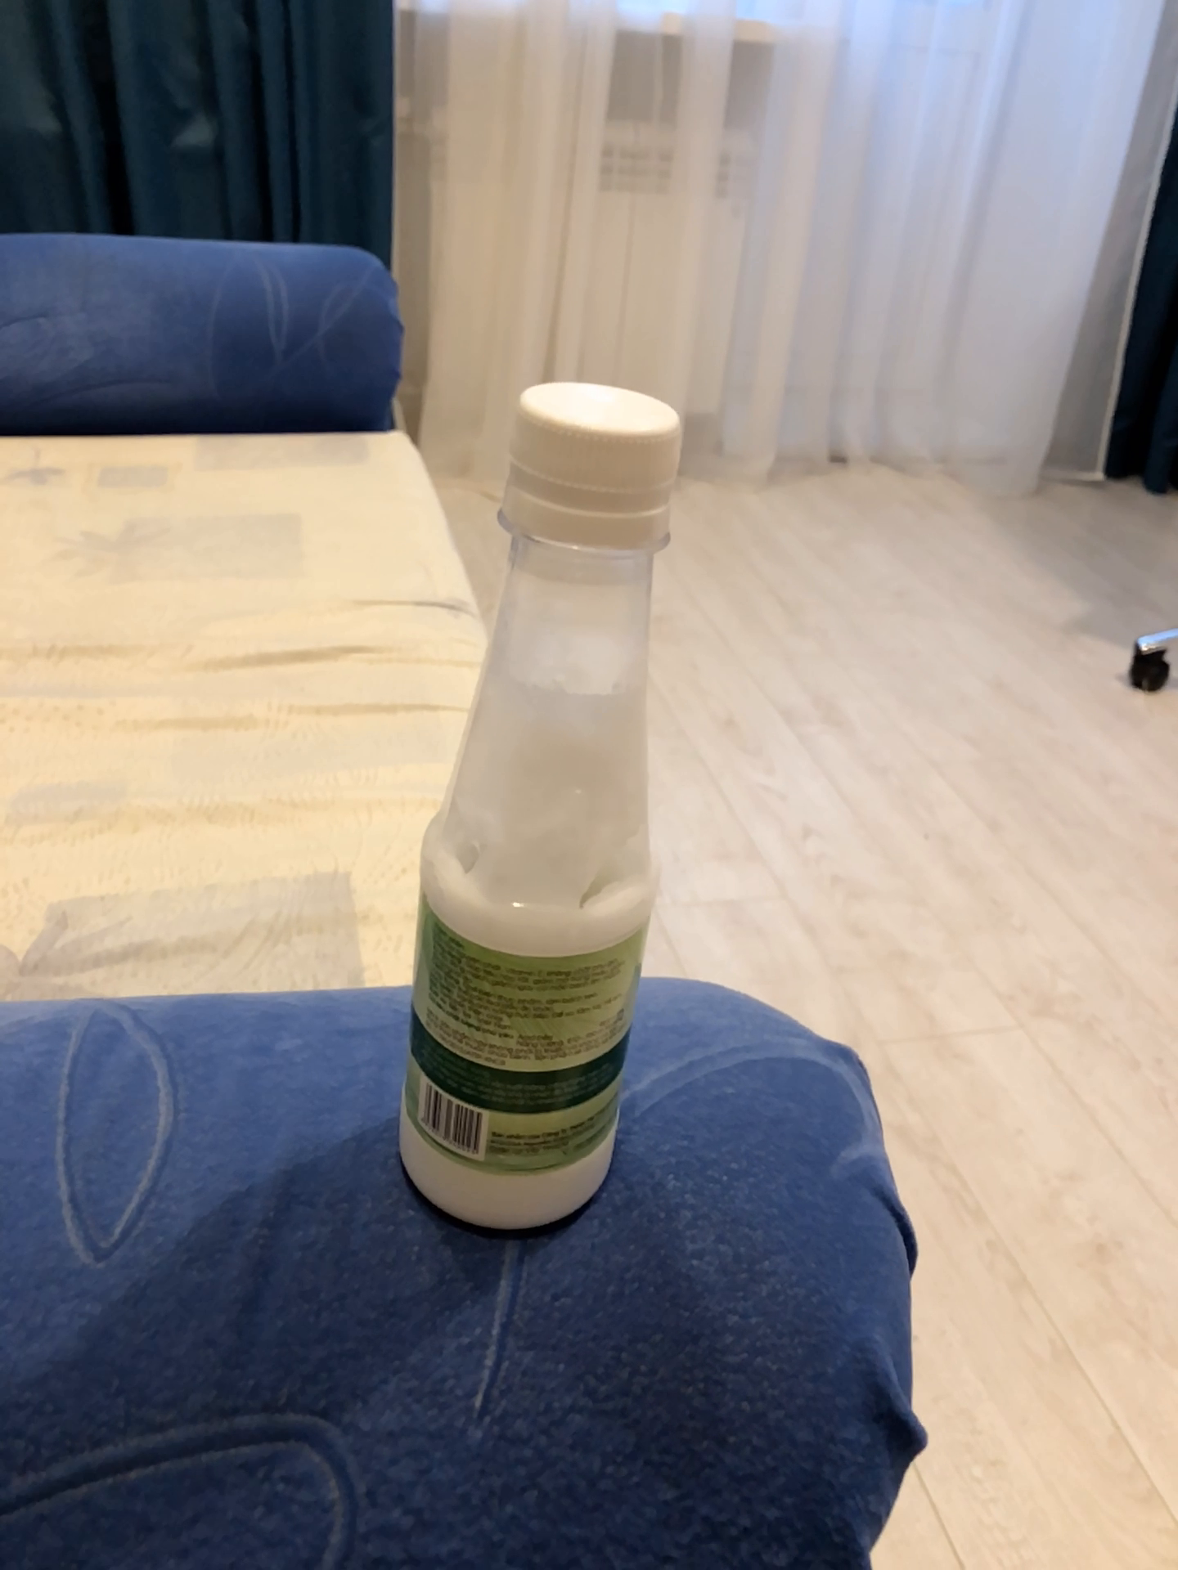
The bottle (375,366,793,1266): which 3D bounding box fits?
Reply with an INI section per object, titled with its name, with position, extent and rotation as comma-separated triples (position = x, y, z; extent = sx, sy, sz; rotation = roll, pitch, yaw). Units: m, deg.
[bottle]
position = -0.010, 0.012, 0.274
extent = 0.054, 0.183, 0.051
rotation = 6, 29, -3
